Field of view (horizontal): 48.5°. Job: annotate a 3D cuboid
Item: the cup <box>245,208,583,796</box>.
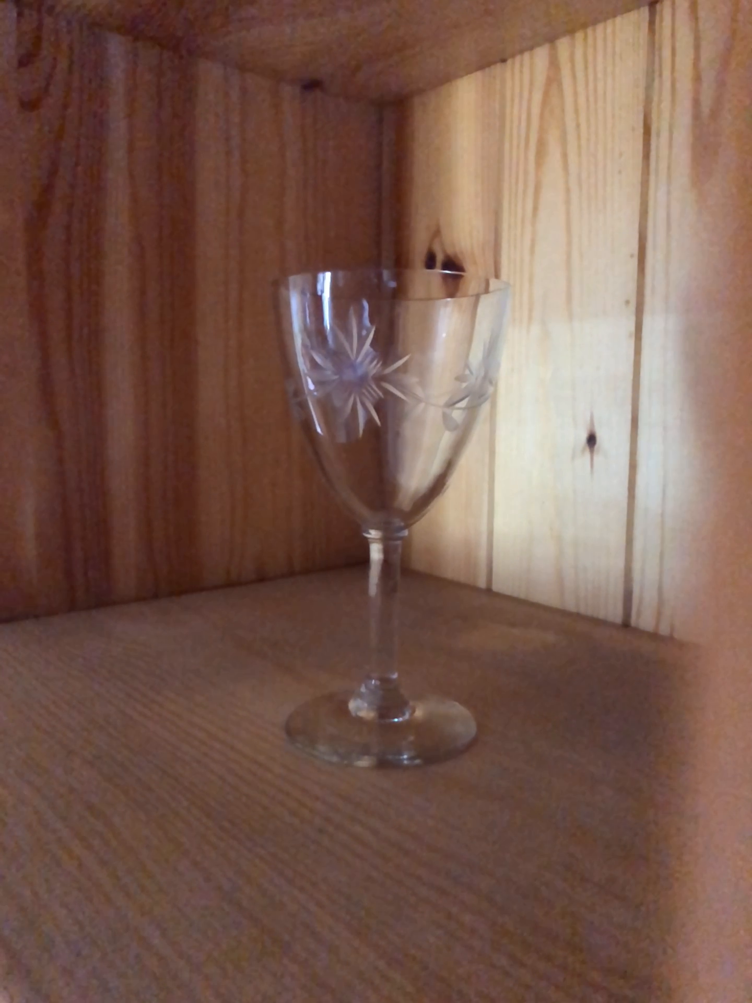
[{"bbox_3d":[0.006,-0.003,0.244,0.070,0.140,0.070,1,7,0],"label":"cup"}]
